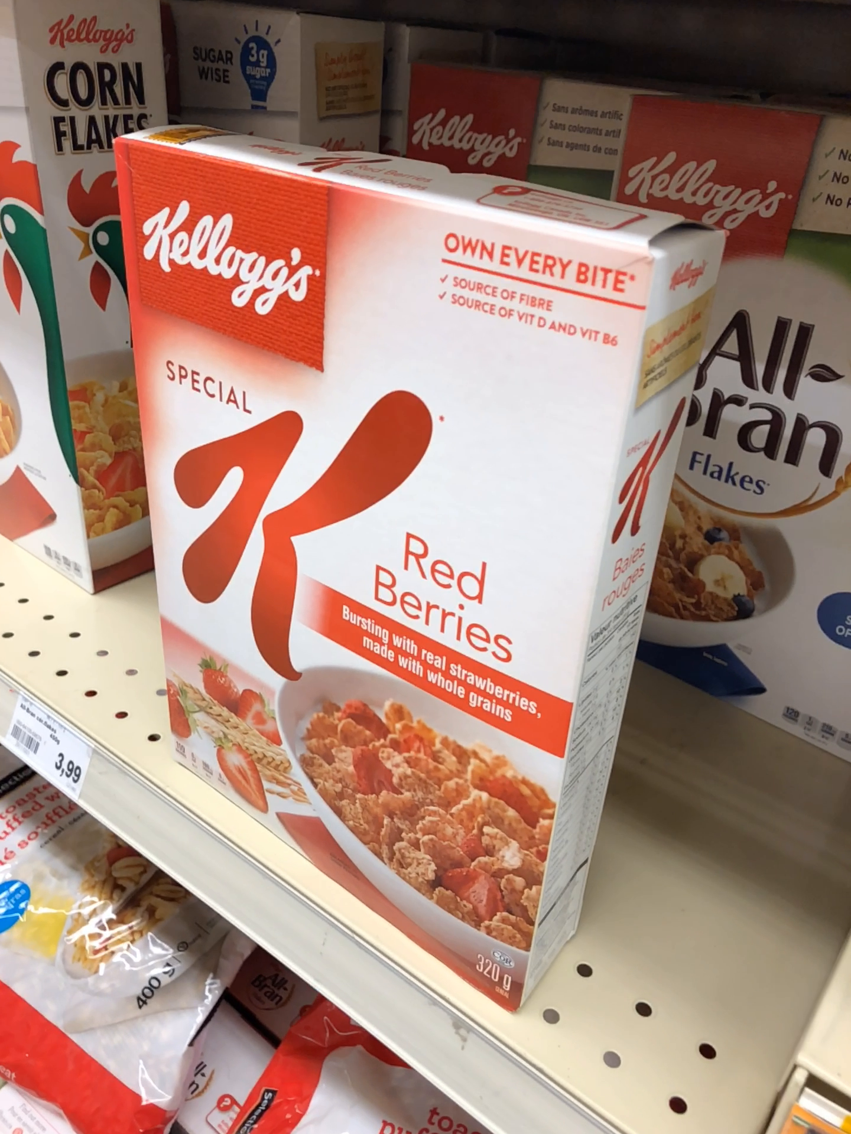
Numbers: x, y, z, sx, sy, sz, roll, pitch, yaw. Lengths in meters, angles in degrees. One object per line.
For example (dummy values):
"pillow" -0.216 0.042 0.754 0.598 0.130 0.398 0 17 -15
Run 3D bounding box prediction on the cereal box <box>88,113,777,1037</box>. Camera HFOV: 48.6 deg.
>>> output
"cereal box" -0.018 0.001 0.345 0.211 0.278 0.060 26 38 32
